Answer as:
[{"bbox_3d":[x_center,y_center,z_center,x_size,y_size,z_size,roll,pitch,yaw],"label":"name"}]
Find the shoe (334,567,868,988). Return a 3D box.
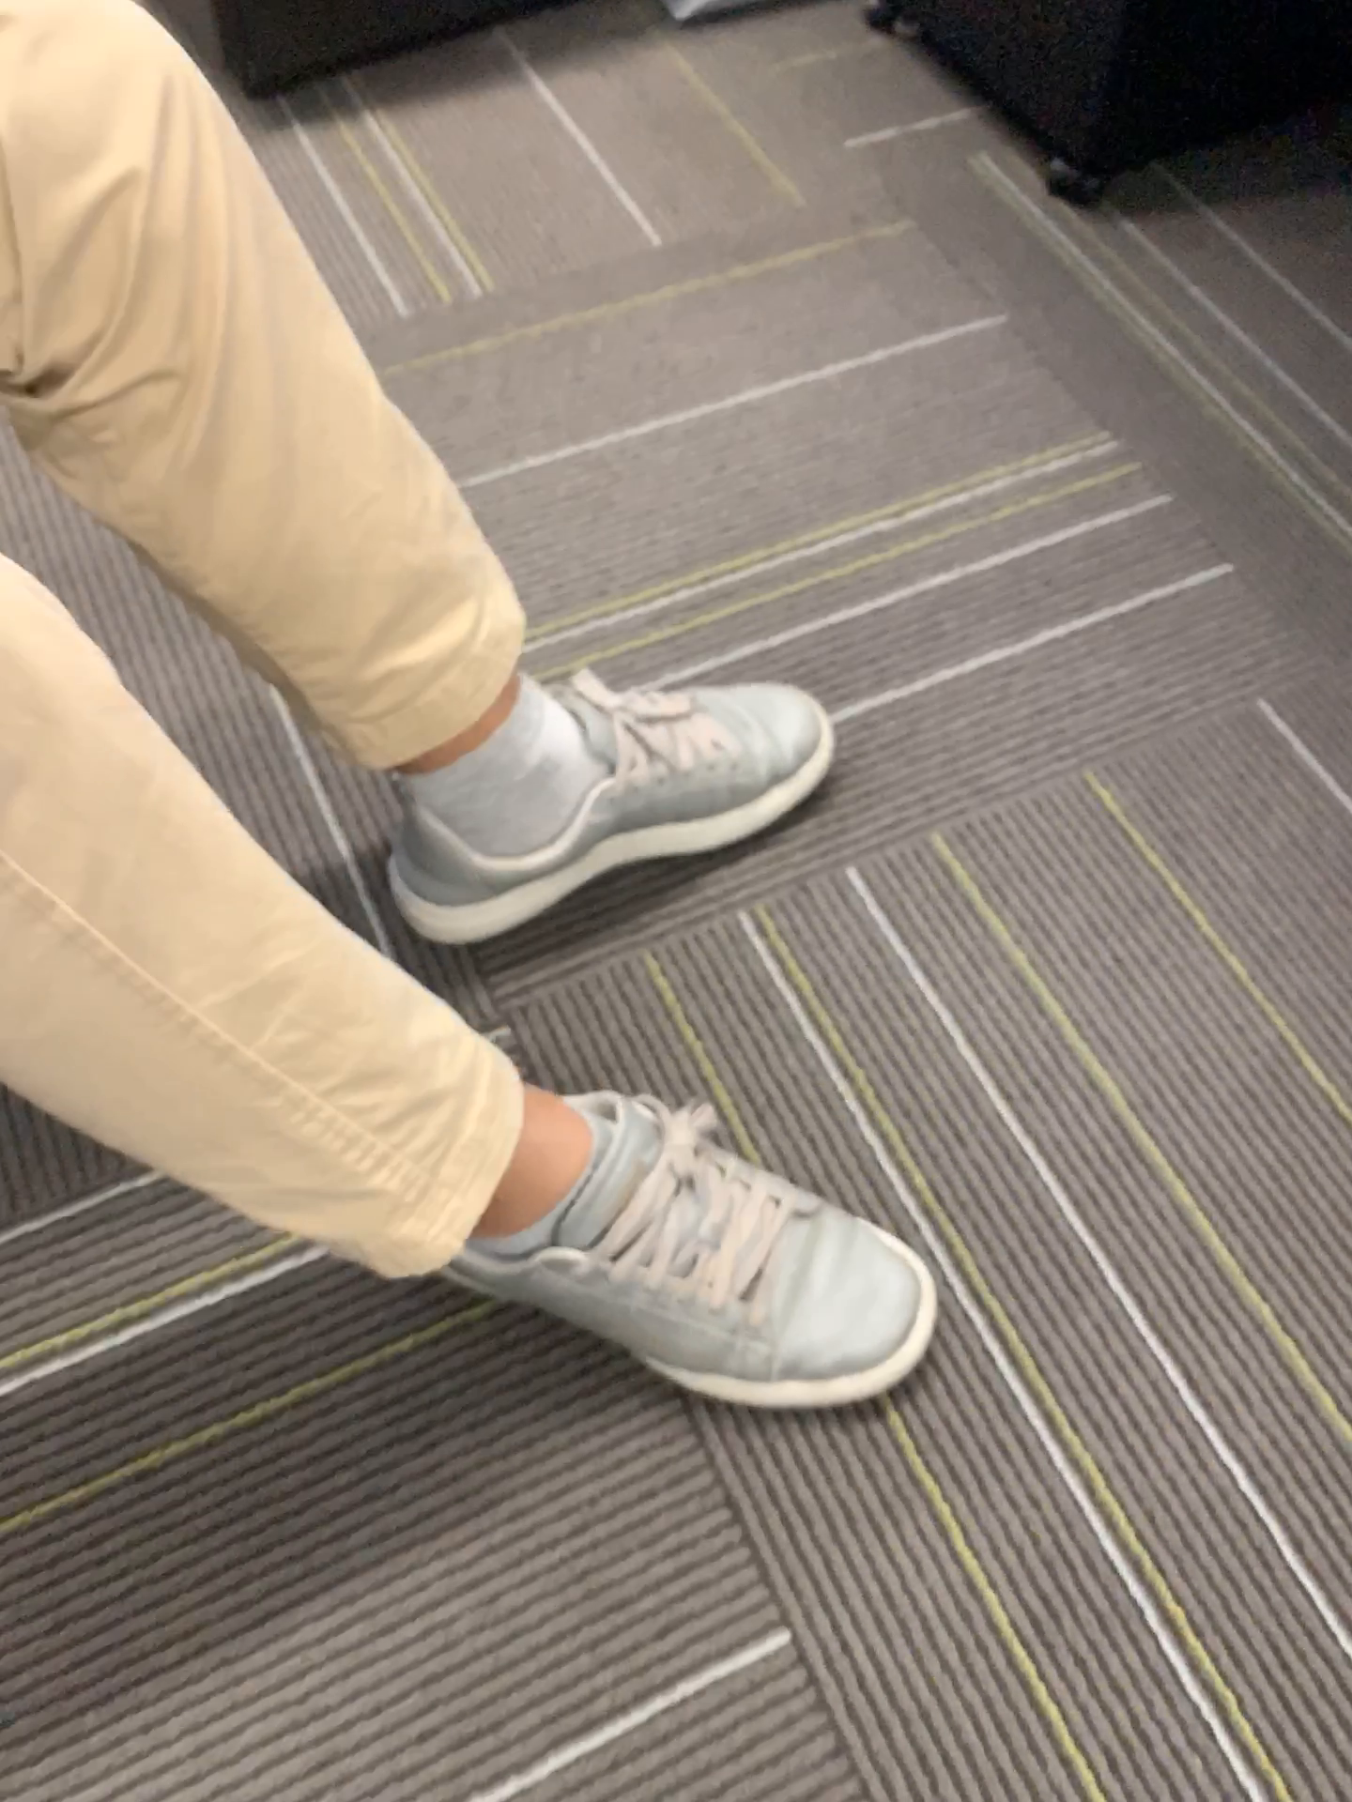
[{"bbox_3d":[-0.042,-0.077,0.843,0.280,0.110,0.120,-24,62,-15],"label":"shoe"}]

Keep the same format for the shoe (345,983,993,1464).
[{"bbox_3d":[-0.002,0.162,0.692,0.270,0.139,0.120,16,60,8],"label":"shoe"}]
